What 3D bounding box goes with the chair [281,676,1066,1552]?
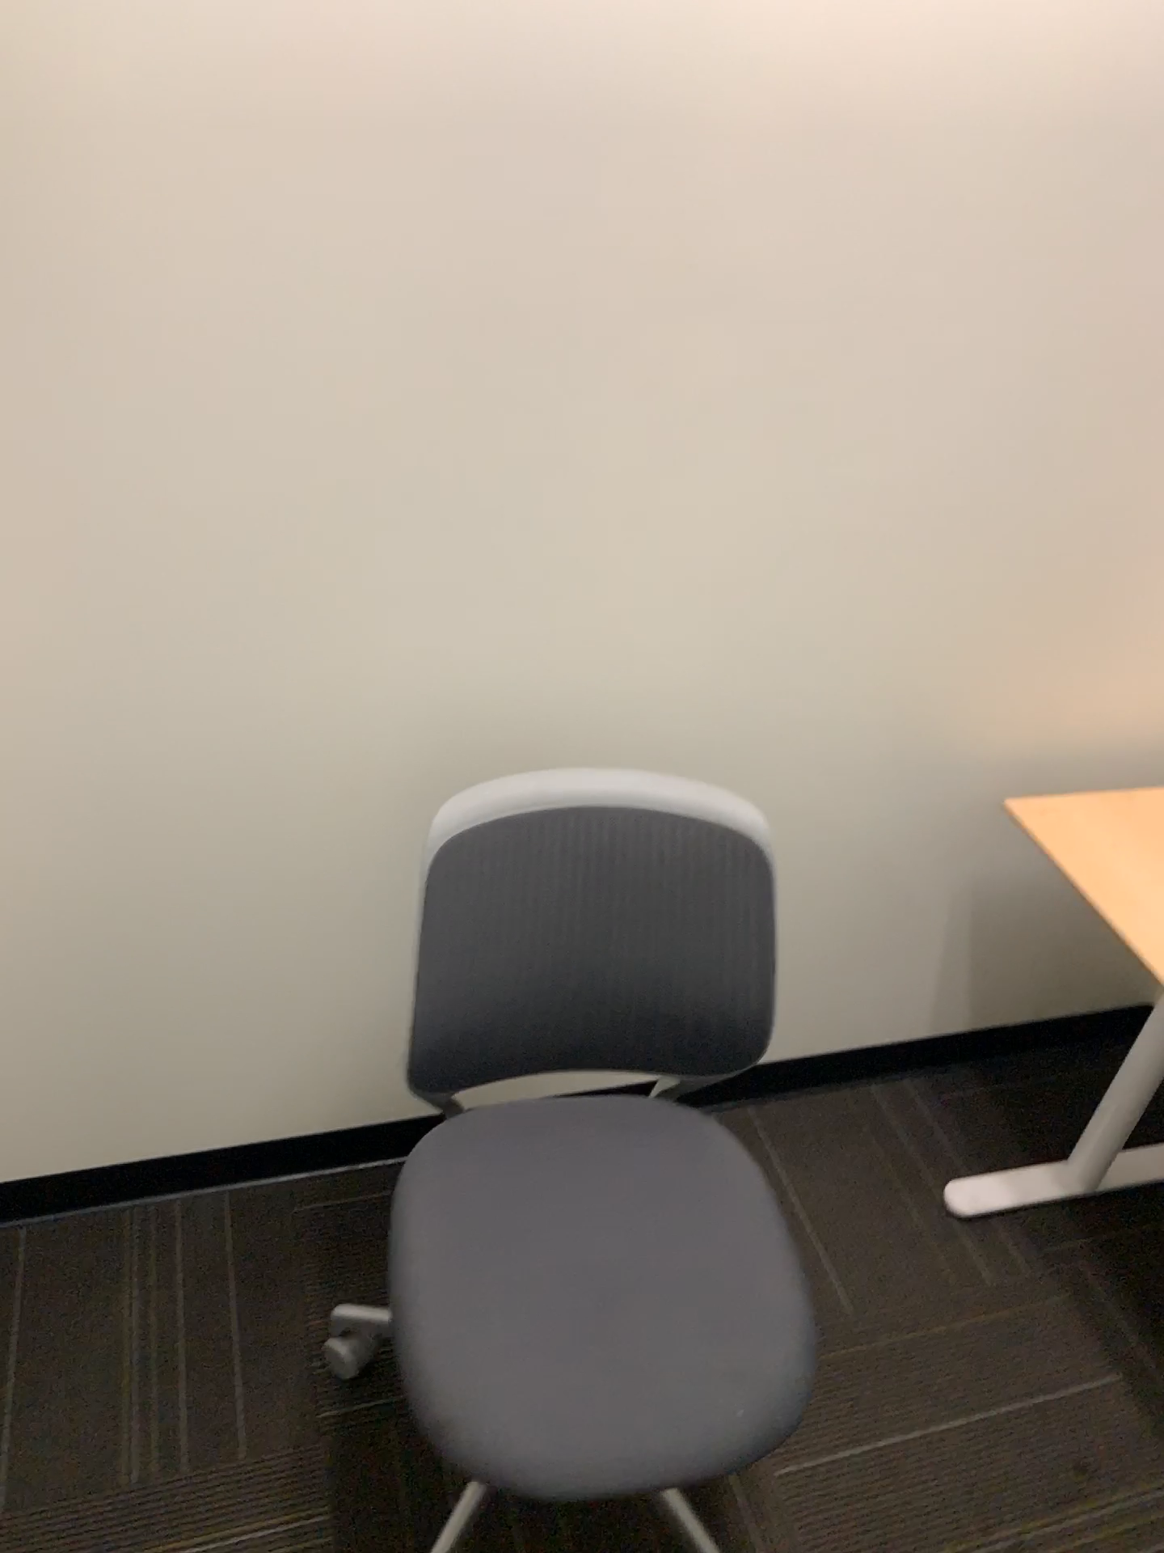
[{"bbox_3d":[-0.009,0.488,1.671,0.720,0.885,0.905,2,35,-10],"label":"chair"}]
